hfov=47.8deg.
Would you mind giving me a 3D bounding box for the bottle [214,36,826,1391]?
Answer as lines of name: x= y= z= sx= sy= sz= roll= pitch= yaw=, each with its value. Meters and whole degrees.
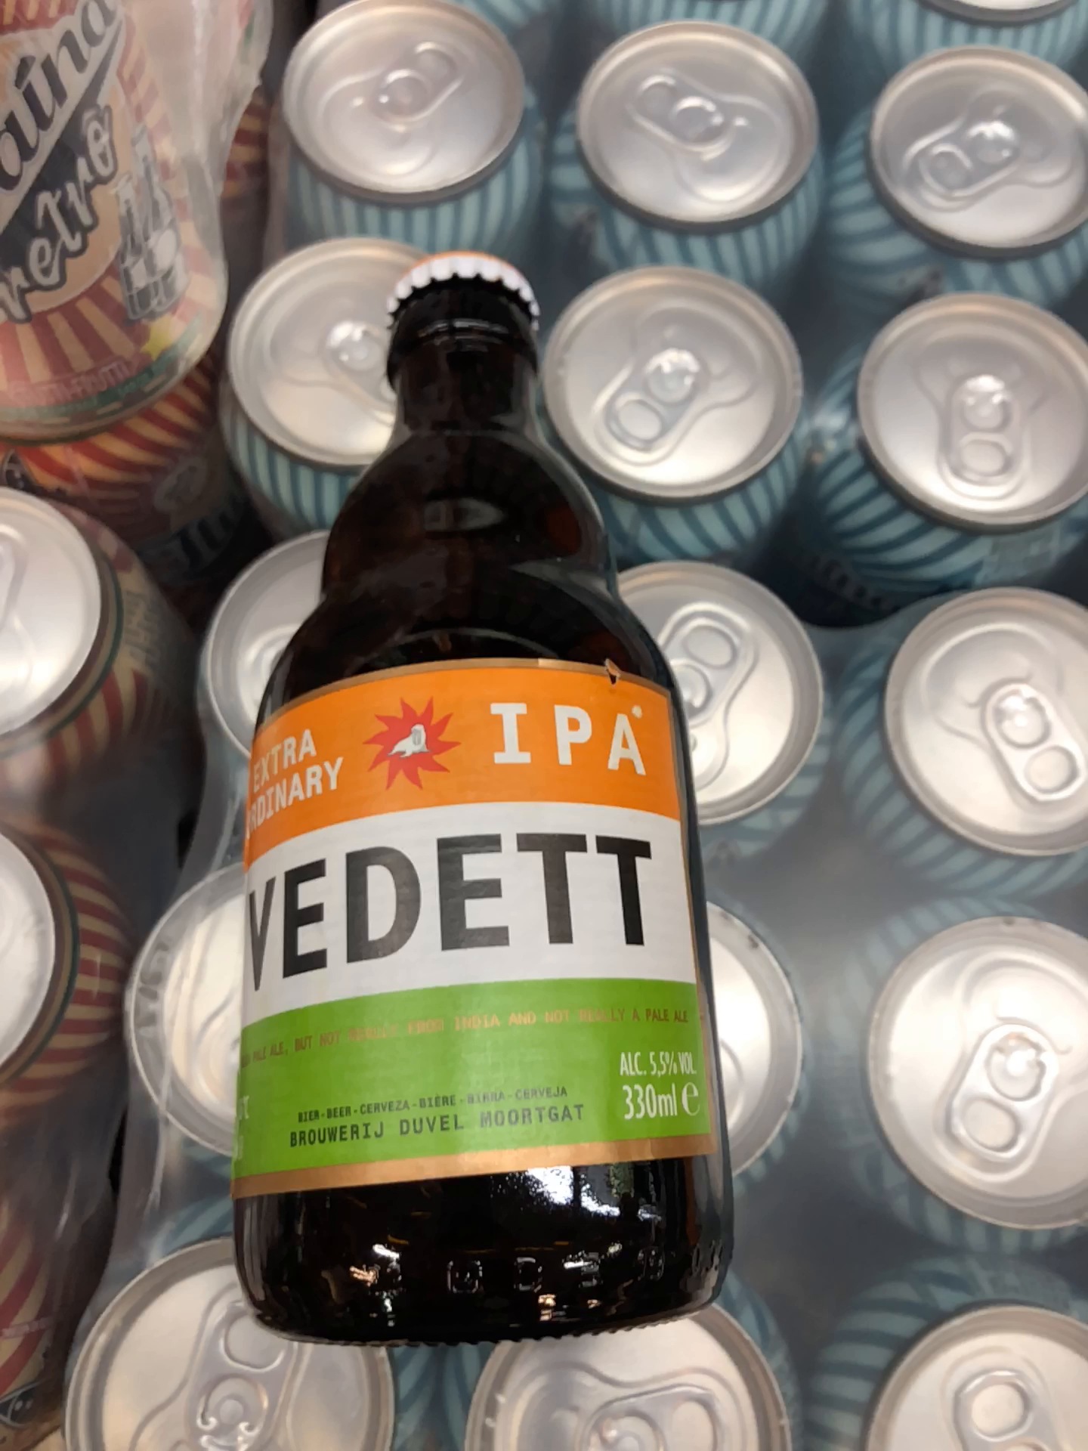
bottle: x=-0.009 y=-0.009 z=0.196 sx=0.070 sy=0.060 sz=0.190 roll=-3 pitch=73 yaw=-2
